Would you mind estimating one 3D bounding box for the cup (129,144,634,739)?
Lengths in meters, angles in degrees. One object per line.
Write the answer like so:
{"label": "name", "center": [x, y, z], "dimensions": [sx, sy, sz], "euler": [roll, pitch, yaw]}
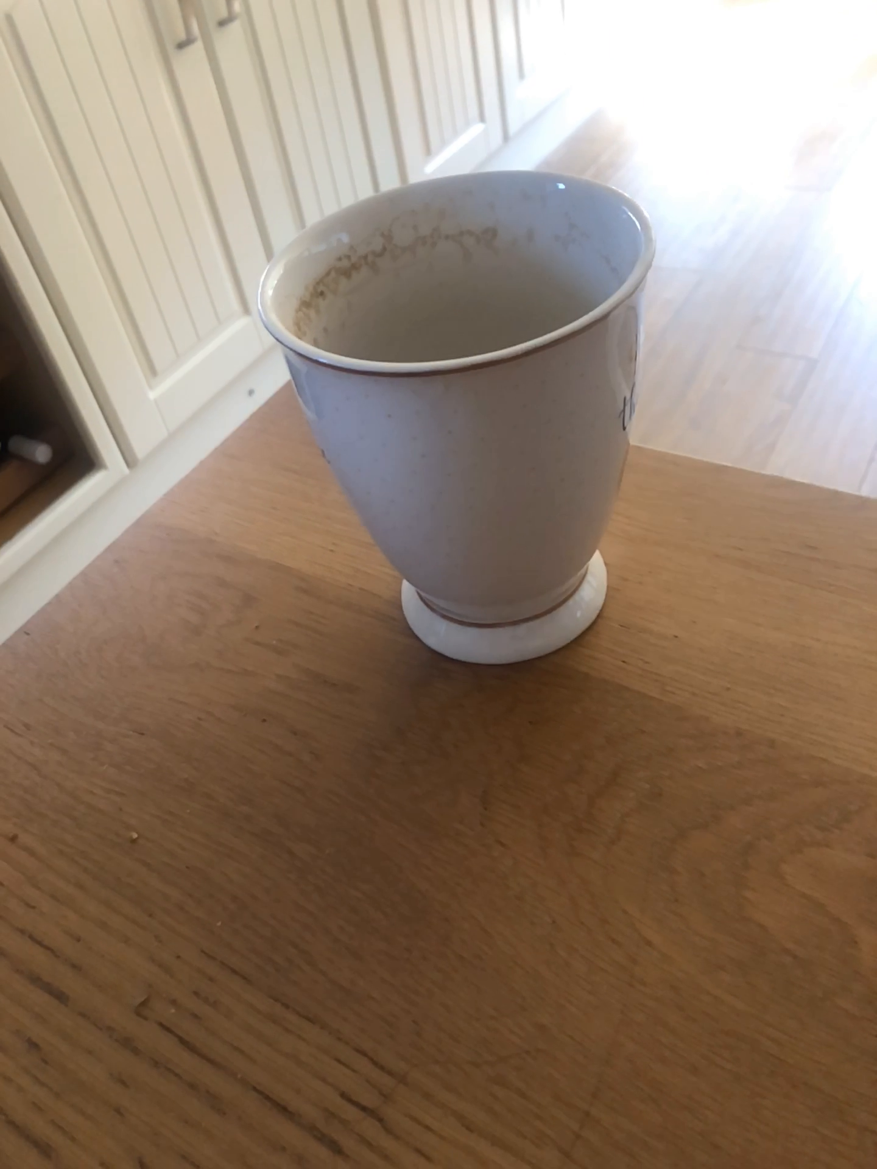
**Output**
{"label": "cup", "center": [-0.001, -0.043, 0.292], "dimensions": [0.108, 0.111, 0.135], "euler": [-3, 44, 9]}
